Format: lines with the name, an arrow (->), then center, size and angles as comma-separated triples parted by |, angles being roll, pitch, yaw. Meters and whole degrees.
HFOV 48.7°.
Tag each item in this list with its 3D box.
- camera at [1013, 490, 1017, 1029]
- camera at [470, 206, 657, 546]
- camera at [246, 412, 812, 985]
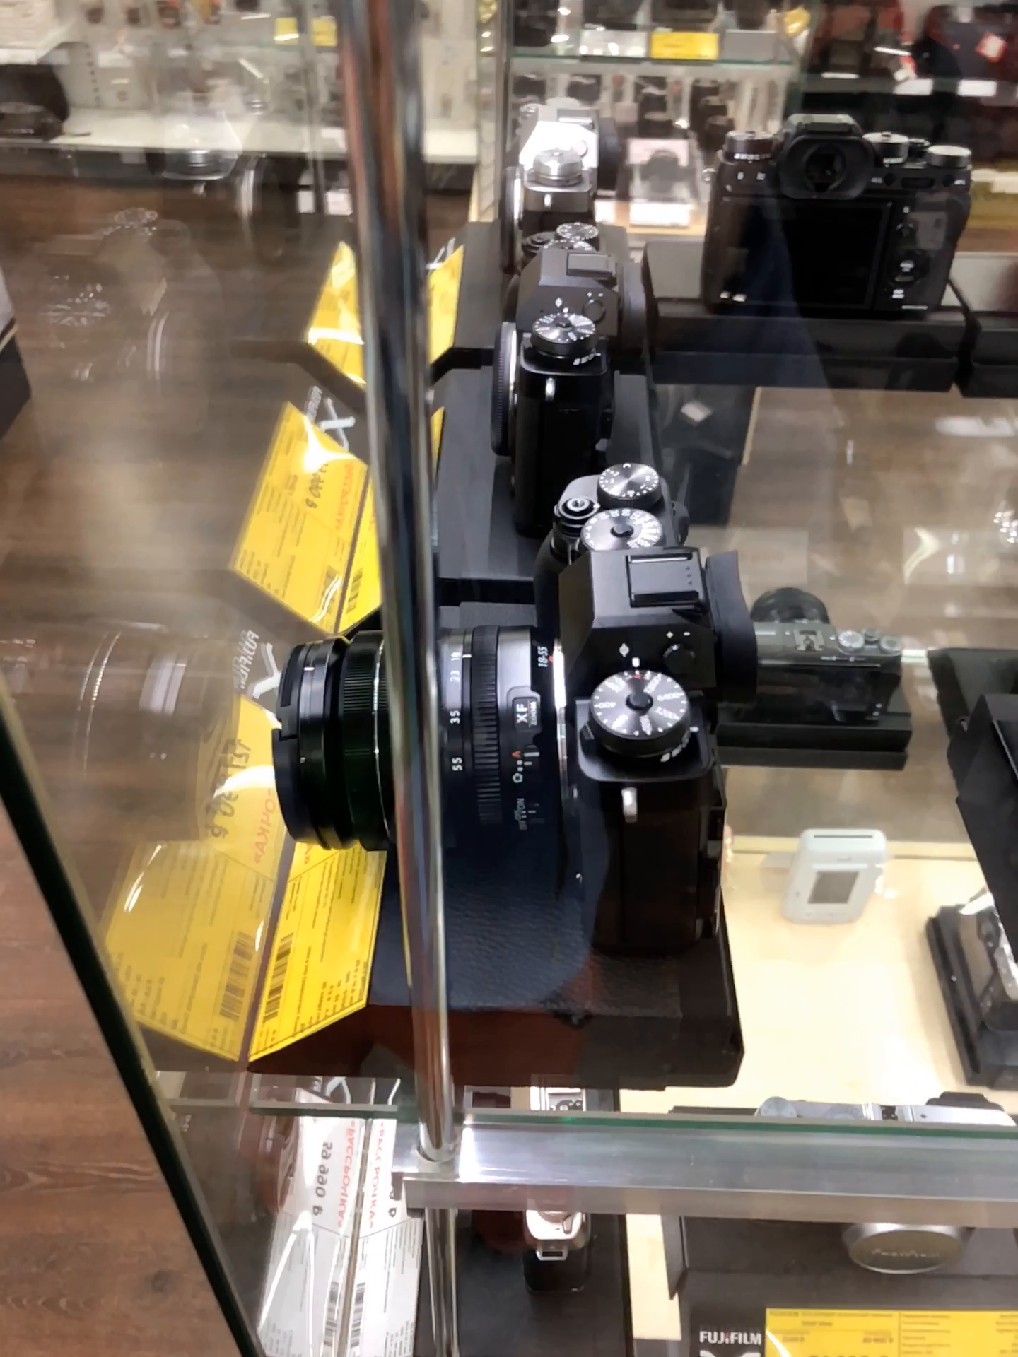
camera -> 0.234, 0.019, 0.314 | 0.125, 0.088, 0.116 | 3, 42, 1
camera -> 0.020, -0.129, 0.469 | 0.066, 0.088, 0.126 | 2, 42, 0
camera -> 0.003, 0.002, 0.318 | 0.119, 0.099, 0.129 | 0, 42, -1
